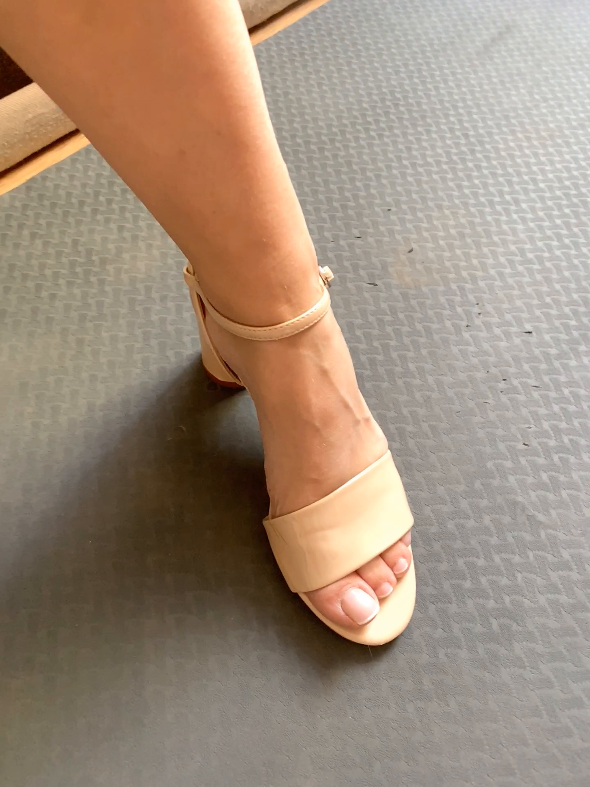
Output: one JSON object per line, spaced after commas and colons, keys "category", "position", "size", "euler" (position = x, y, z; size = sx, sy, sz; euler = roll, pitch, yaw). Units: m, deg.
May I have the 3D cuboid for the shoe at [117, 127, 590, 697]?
{"category": "shoe", "position": [0.007, 0.000, 0.308], "size": [0.090, 0.120, 0.251], "euler": [-23, 61, -15]}
